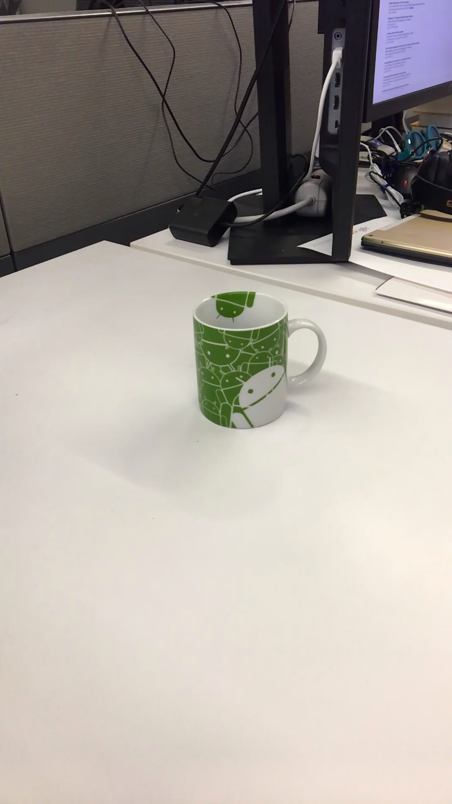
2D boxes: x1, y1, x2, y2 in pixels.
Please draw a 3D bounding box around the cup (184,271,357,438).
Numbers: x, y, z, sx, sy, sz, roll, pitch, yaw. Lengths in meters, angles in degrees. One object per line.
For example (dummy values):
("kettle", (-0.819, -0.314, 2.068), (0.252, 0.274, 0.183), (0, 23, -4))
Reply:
("cup", (0.036, -0.044, 0.568), (0.110, 0.090, 0.090), (-17, 34, -23))
